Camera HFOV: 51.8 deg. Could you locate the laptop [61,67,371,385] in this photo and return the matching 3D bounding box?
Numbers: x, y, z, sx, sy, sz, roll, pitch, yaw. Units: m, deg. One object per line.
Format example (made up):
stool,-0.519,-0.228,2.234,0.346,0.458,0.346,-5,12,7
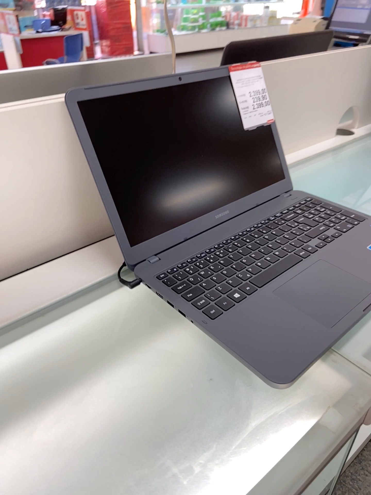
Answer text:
laptop,0.103,-0.093,0.504,0.361,0.197,0.352,-26,41,-33
